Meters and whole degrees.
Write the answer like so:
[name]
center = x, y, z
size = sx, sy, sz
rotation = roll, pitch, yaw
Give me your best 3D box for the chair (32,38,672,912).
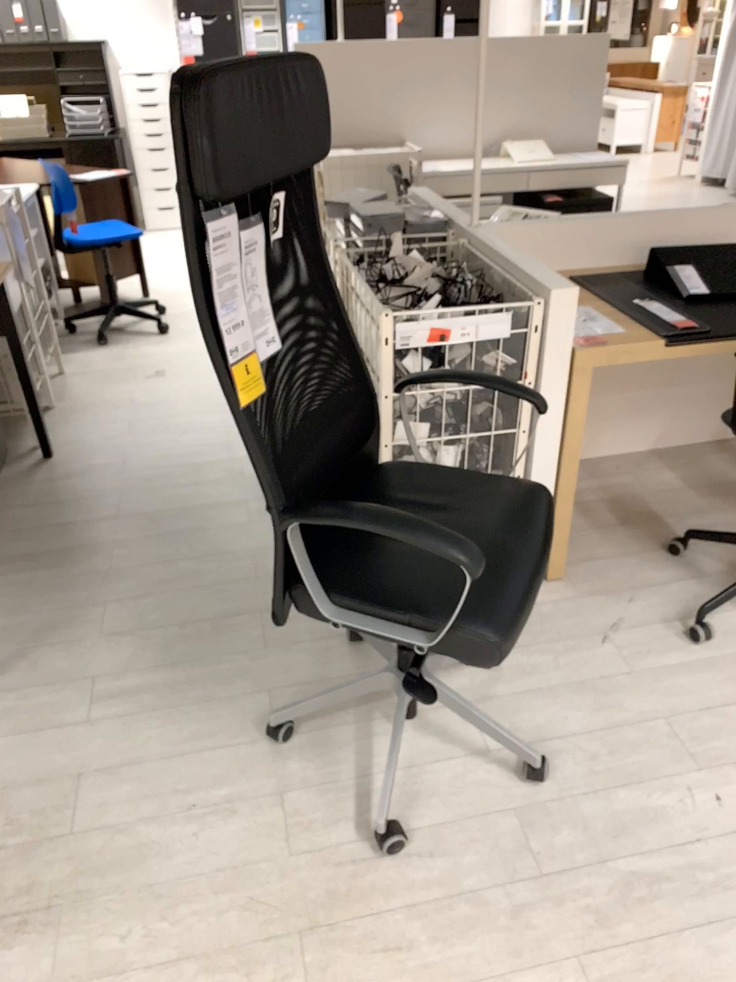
[chair]
center = 0.076, -0.057, 1.379
size = 0.679, 1.294, 0.726
rotation = 9, 32, 17
